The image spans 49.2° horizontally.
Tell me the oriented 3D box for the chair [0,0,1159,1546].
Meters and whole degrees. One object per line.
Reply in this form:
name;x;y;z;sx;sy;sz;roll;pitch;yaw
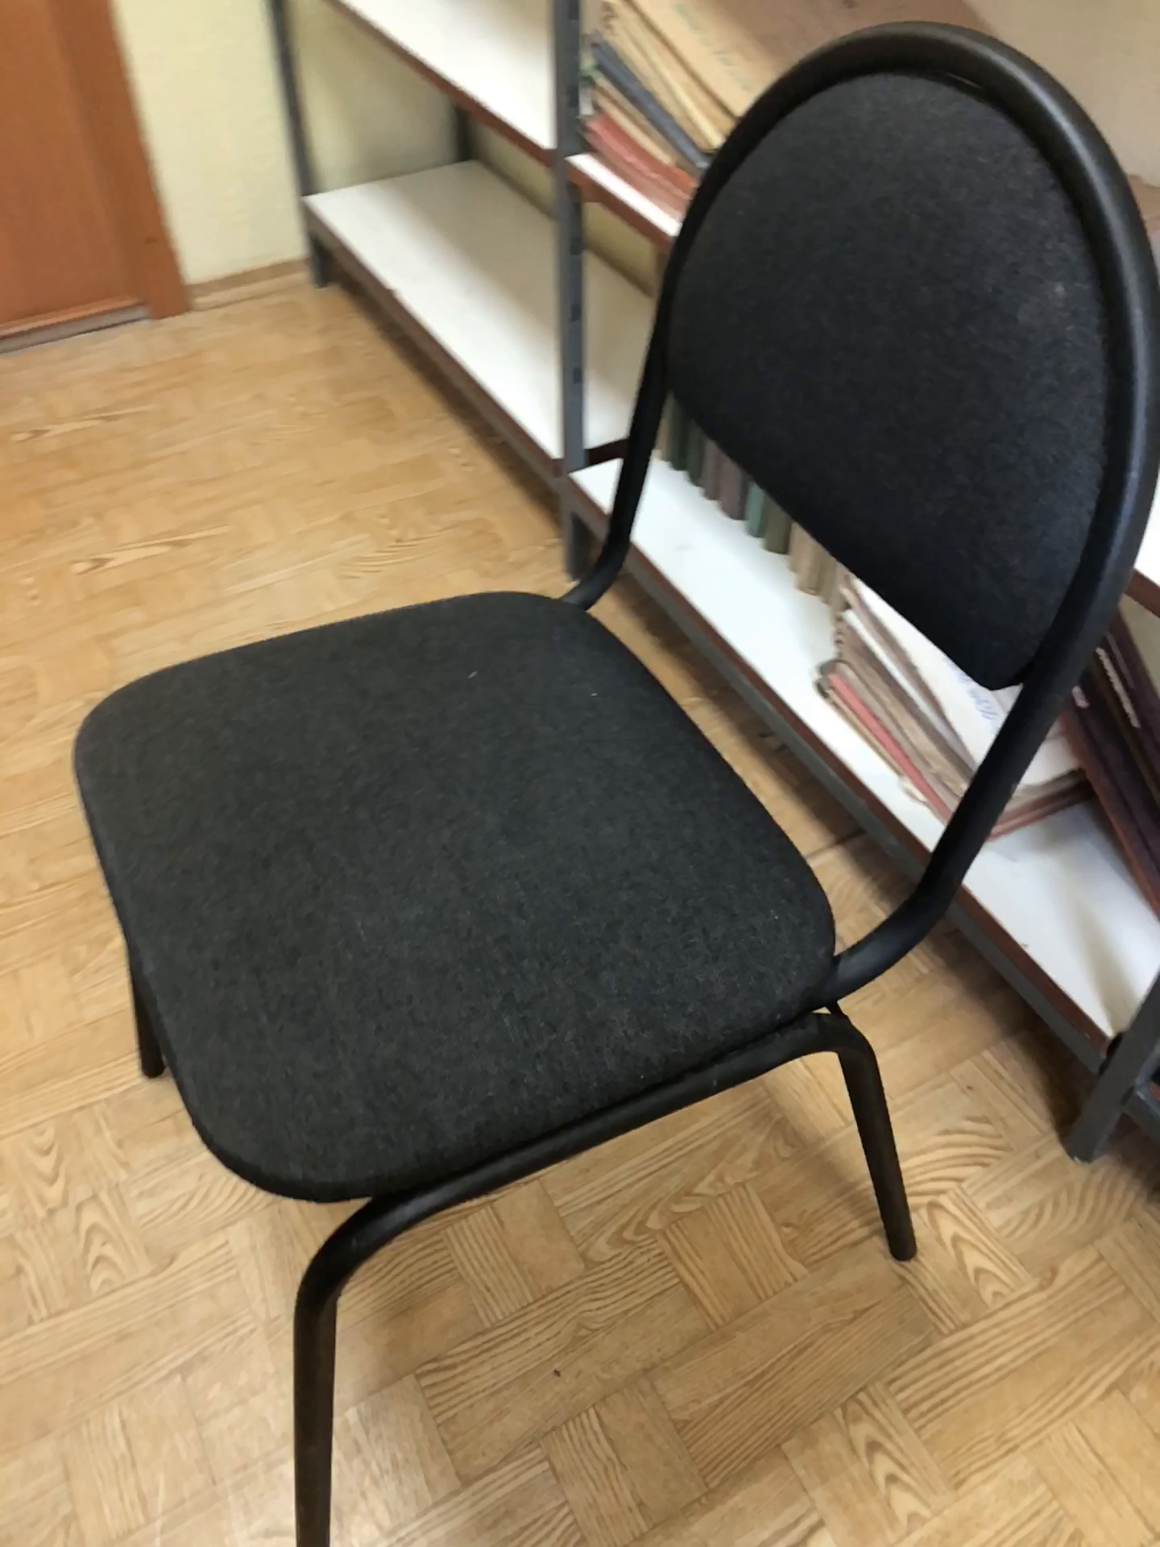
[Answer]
chair;-0.064;0.032;0.805;0.560;0.835;0.475;-21;49;-18
